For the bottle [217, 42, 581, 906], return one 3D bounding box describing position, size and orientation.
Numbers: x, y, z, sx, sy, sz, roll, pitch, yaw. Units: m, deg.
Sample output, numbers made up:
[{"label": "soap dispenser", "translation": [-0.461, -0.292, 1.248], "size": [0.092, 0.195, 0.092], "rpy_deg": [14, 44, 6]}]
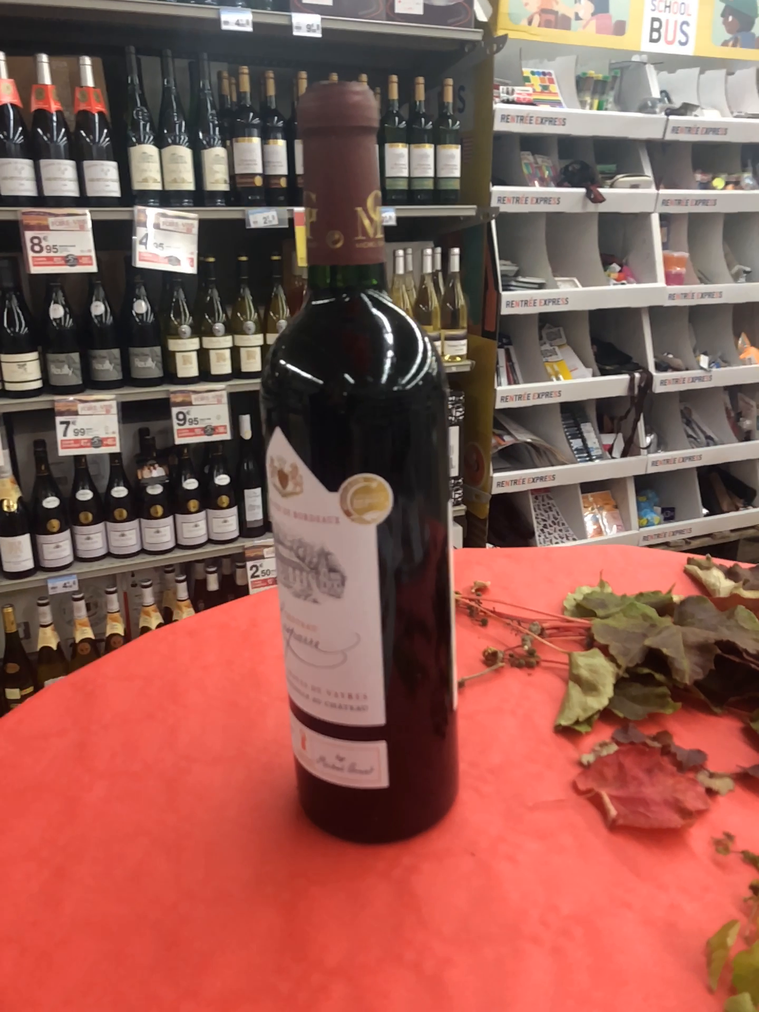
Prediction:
[{"label": "bottle", "translation": [0.005, -0.007, 0.335], "size": [0.090, 0.299, 0.090], "rpy_deg": [0, 19, 0]}]
